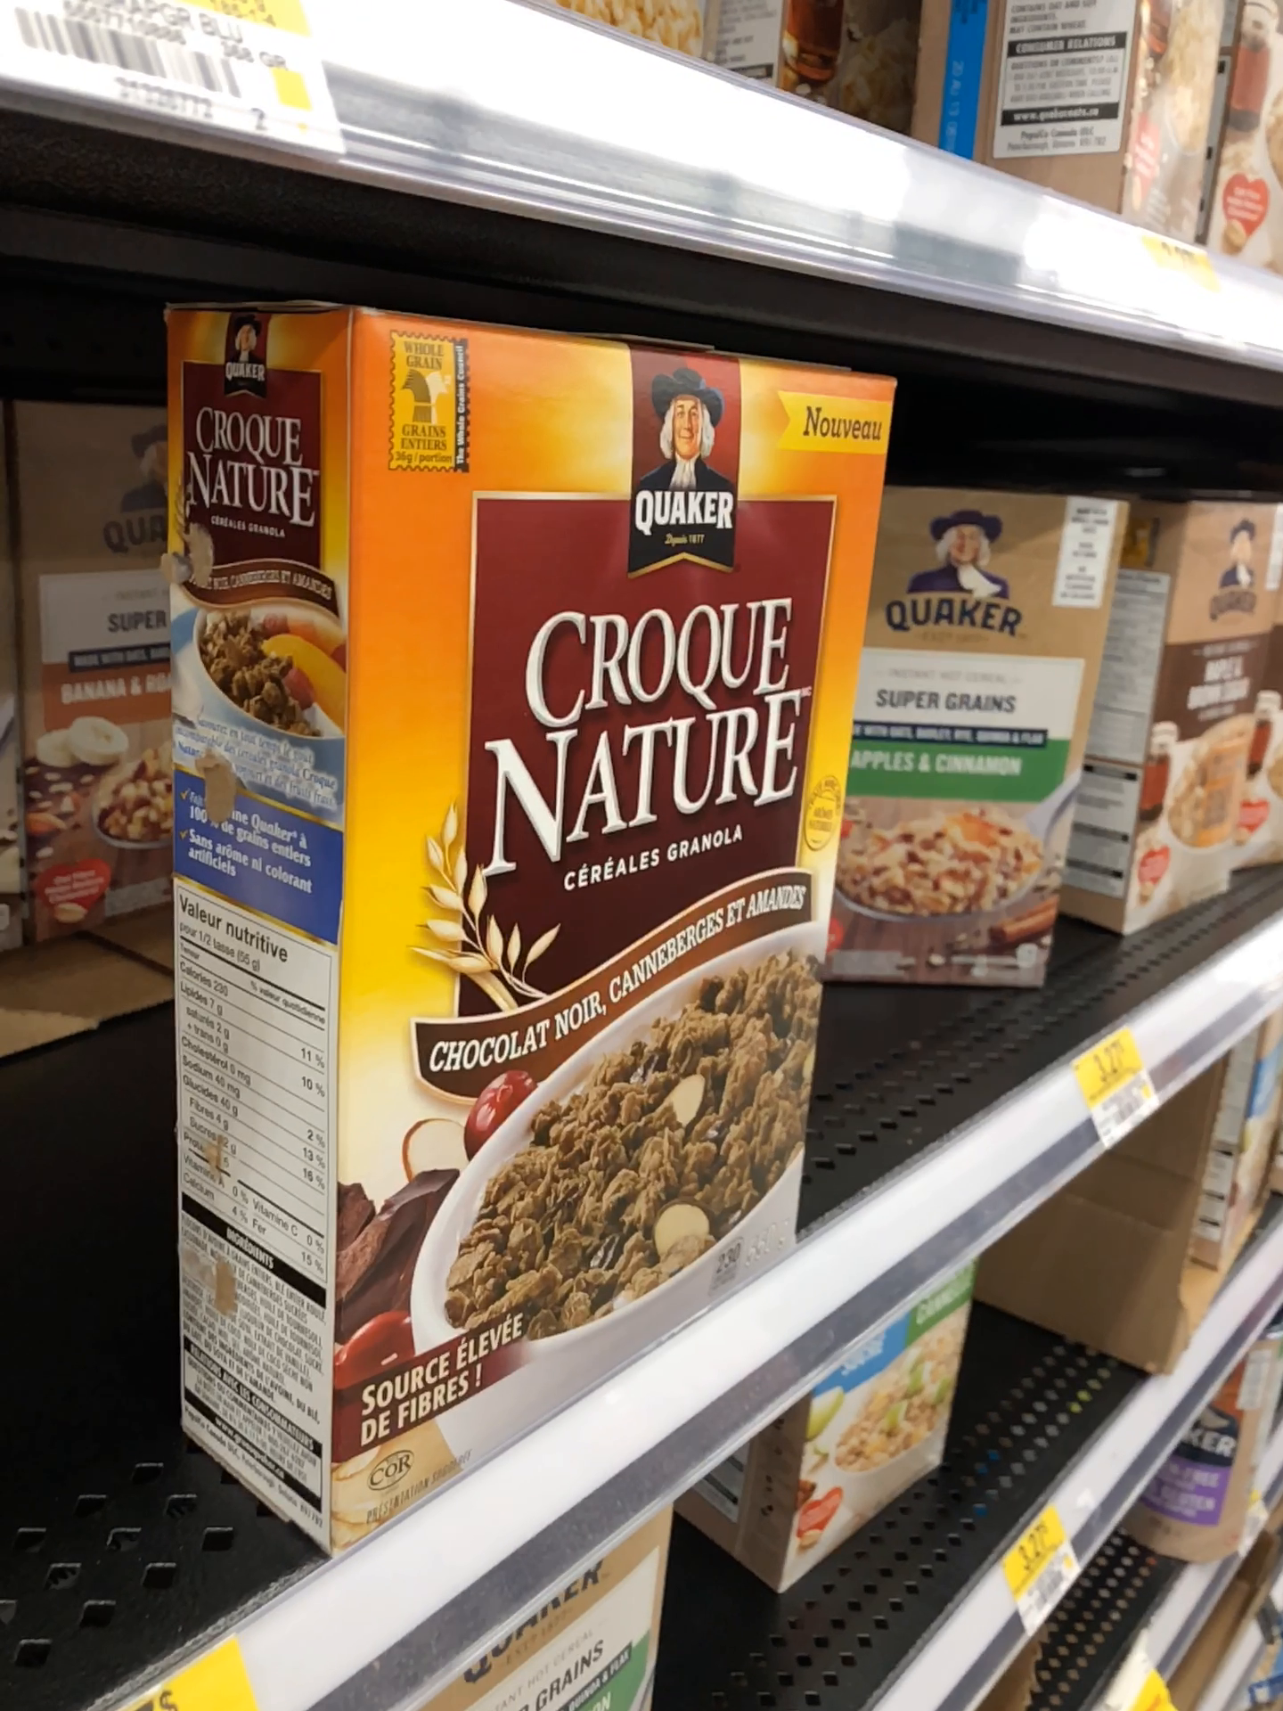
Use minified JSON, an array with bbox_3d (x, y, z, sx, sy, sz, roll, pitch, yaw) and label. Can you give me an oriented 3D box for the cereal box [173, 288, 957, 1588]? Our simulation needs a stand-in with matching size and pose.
[{"bbox_3d":[-0.013,0.008,0.314,0.050,0.229,0.171,19,22,37],"label":"cereal box"}]
